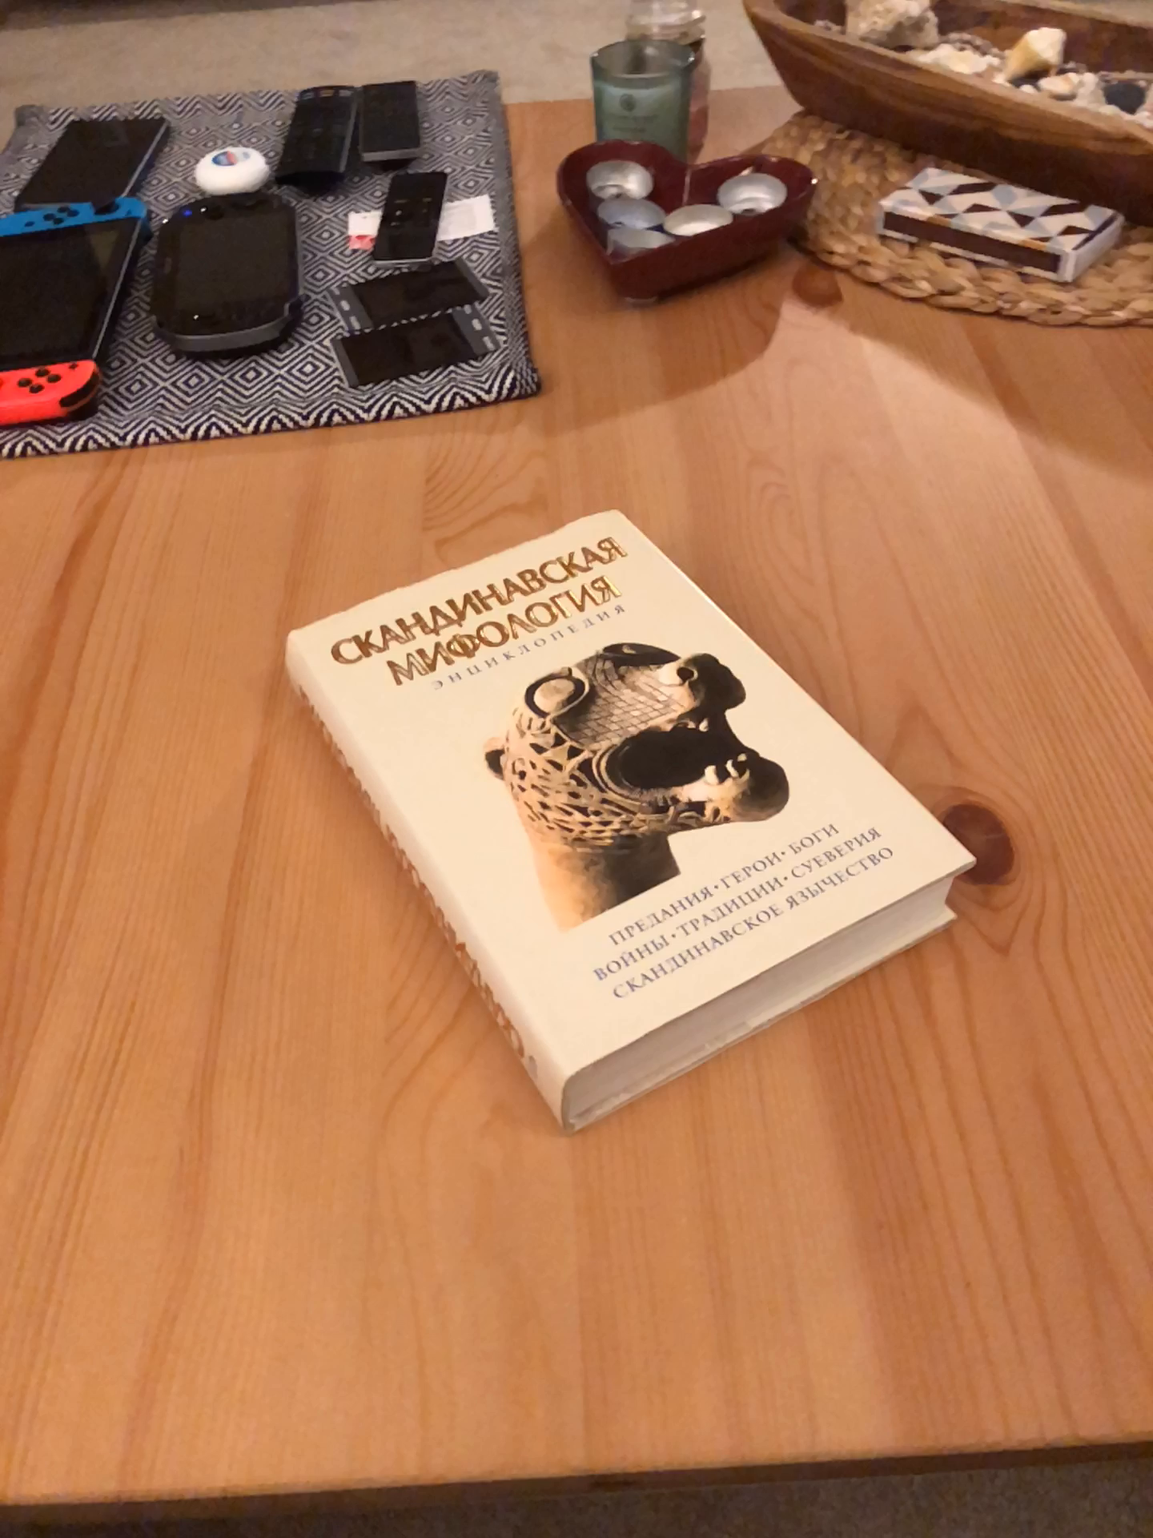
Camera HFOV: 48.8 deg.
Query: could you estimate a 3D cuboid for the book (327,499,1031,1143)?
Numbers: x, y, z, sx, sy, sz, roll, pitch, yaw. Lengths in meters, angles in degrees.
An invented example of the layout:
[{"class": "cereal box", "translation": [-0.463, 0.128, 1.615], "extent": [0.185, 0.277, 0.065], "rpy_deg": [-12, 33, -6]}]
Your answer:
[{"class": "book", "translation": [0.024, 0.000, 0.439], "extent": [0.146, 0.037, 0.210], "rpy_deg": [-24, 51, -16]}]
